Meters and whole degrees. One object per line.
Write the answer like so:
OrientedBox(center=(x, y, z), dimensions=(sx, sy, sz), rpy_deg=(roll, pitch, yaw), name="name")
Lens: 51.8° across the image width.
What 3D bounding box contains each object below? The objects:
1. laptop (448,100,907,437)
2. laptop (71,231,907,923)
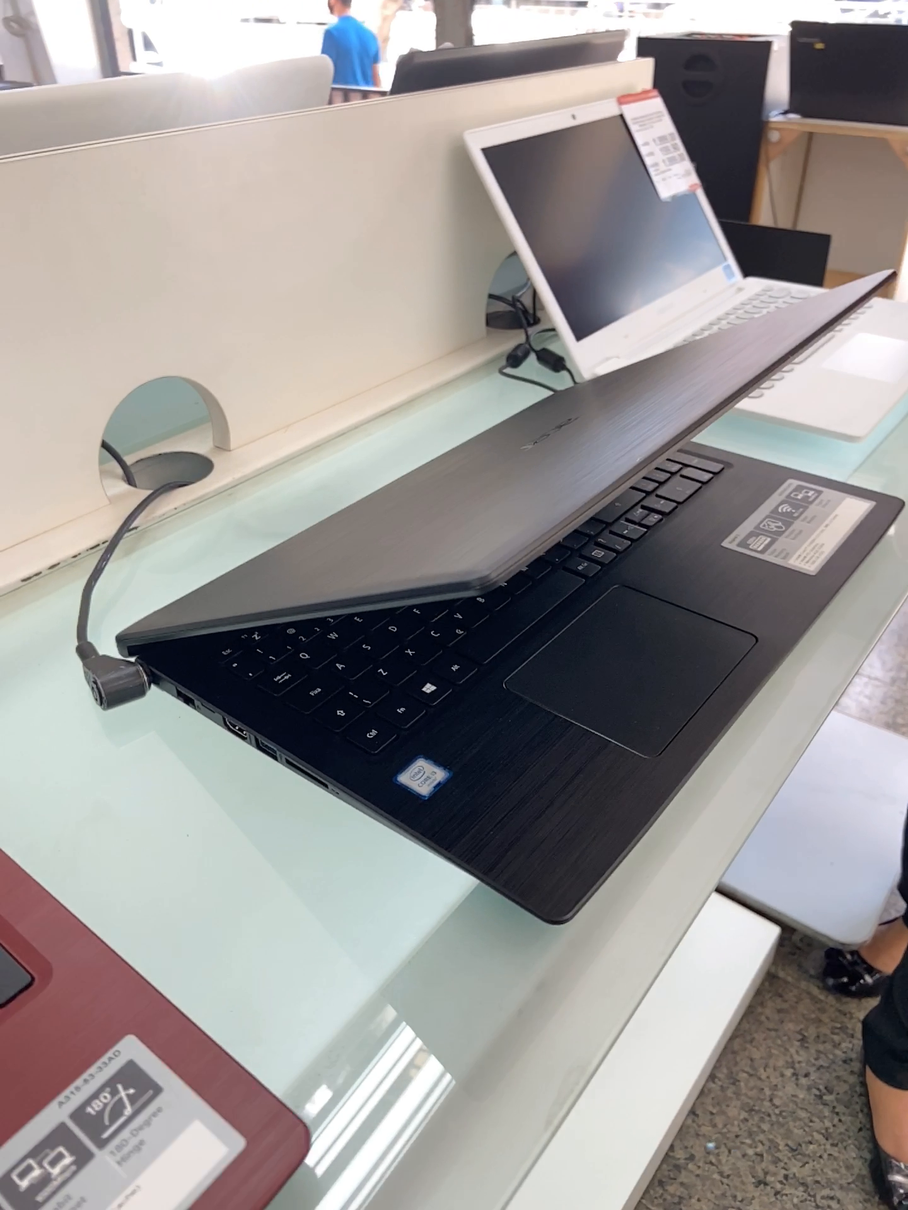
OrientedBox(center=(0.250, -0.325, 0.814), dimensions=(0.351, 0.165, 0.382), rpy_deg=(22, 38, 29), name="laptop")
OrientedBox(center=(0.058, -0.070, 0.471), dimensions=(0.239, 0.123, 0.380), rpy_deg=(24, 41, 31), name="laptop")
